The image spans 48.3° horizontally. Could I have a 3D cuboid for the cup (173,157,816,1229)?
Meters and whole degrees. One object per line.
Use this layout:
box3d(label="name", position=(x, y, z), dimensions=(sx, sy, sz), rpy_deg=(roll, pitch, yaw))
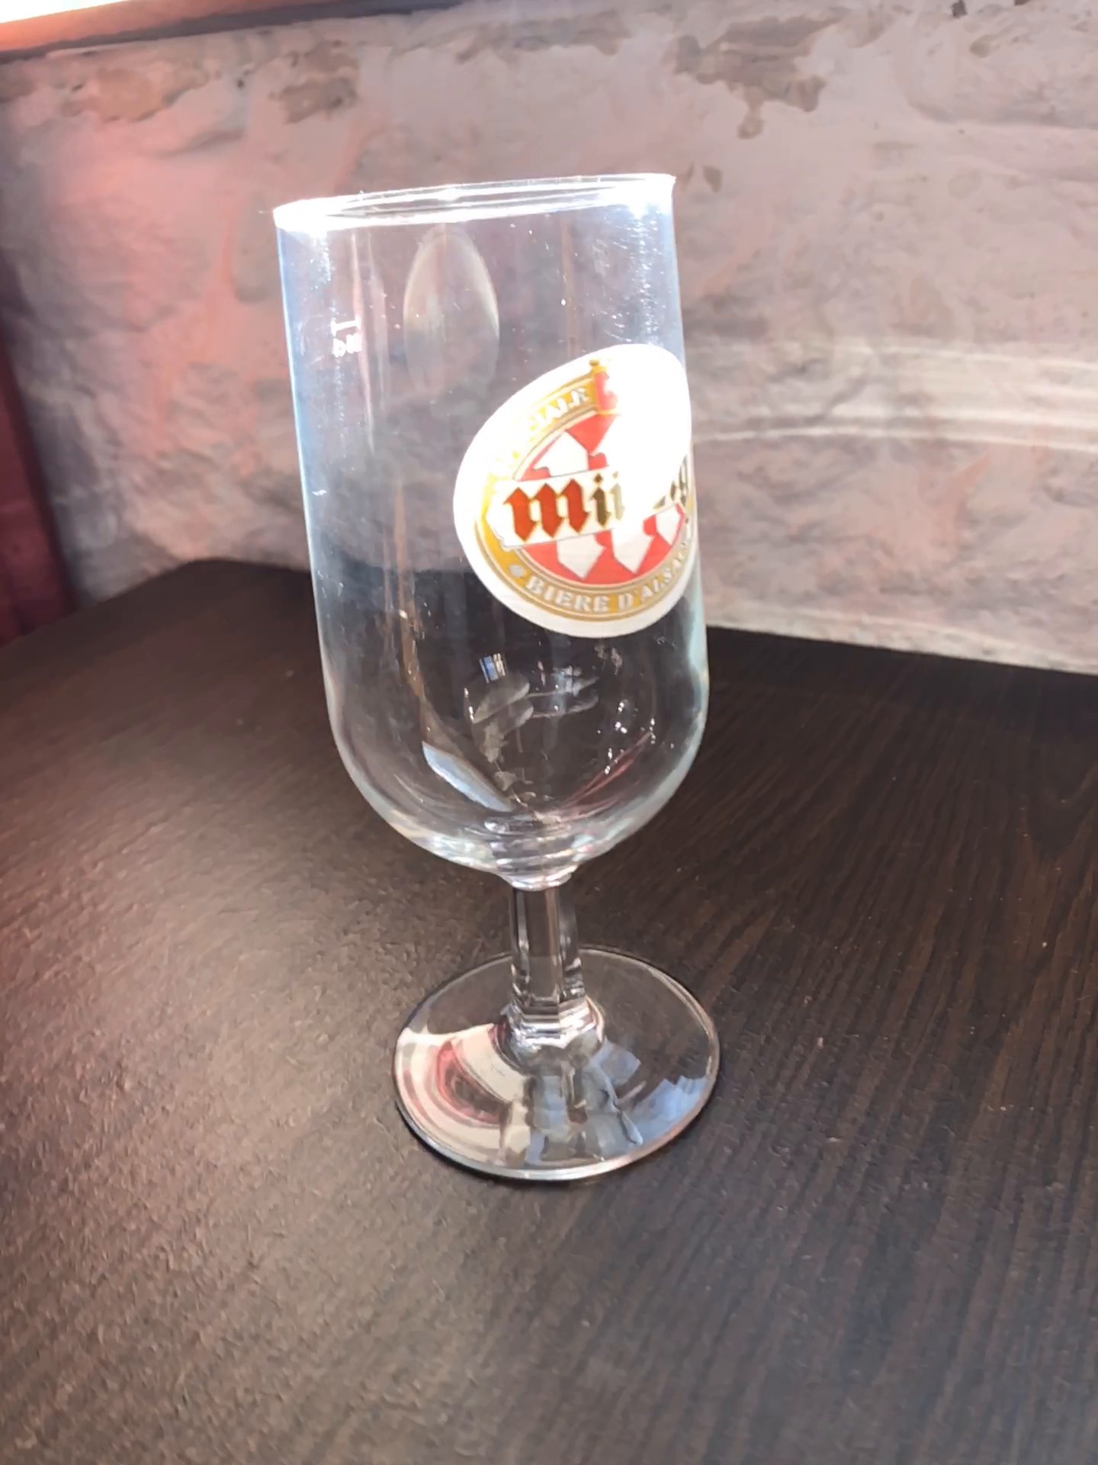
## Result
box3d(label="cup", position=(-0.005, -0.010, 0.211), dimensions=(0.067, 0.155, 0.070), rpy_deg=(-4, 24, 2))
